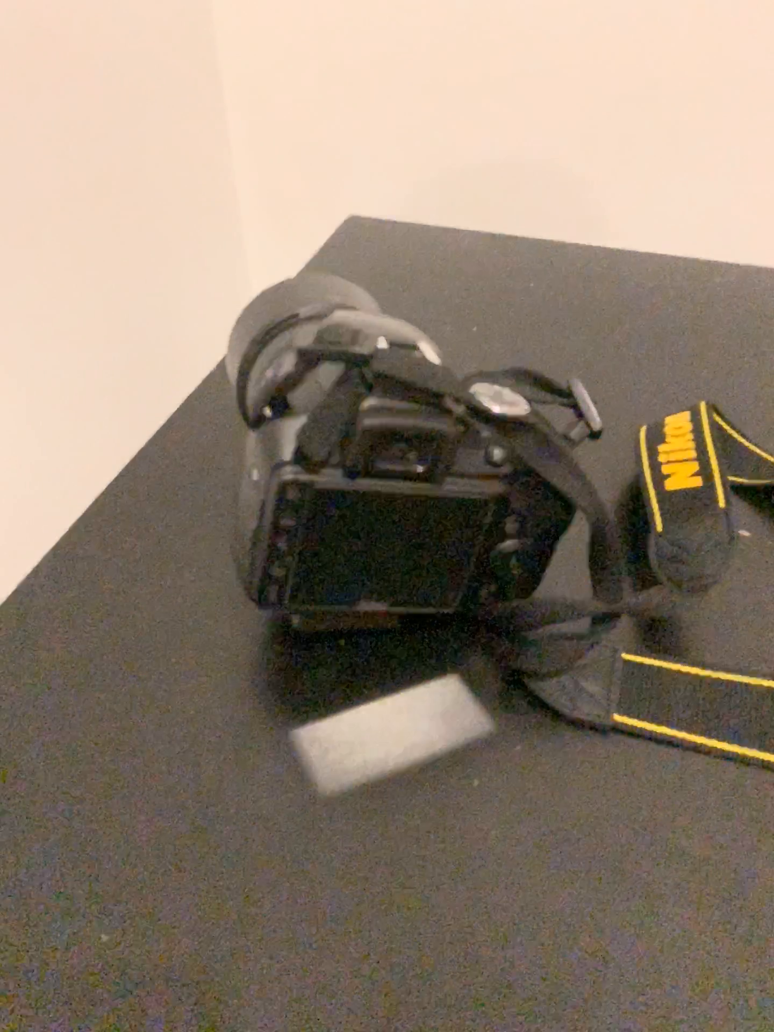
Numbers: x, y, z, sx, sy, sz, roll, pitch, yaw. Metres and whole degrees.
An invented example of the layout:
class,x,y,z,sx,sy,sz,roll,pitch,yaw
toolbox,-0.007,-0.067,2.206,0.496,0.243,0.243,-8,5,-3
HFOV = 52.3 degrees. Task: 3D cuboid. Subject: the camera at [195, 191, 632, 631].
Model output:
class,x,y,z,sx,sy,sz,roll,pitch,yaw
camera,-0.012,-0.058,0.350,0.116,0.089,0.221,4,34,-21
